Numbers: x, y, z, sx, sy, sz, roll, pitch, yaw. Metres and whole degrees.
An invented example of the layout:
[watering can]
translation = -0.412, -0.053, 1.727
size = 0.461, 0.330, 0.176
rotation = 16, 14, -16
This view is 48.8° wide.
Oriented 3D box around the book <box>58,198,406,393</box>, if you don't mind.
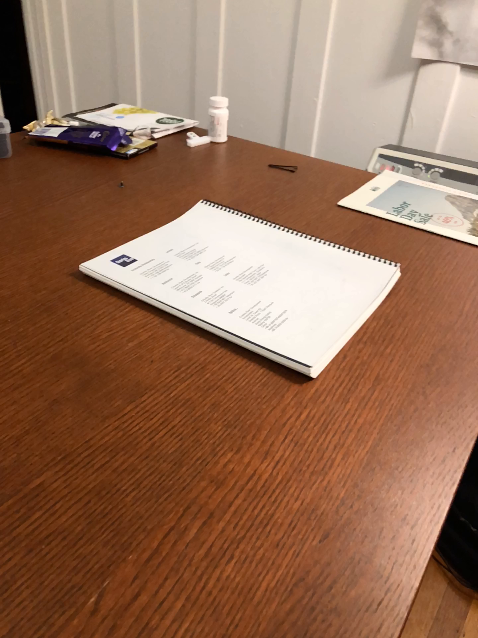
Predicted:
[book]
translation = -0.002, -0.052, 0.576
size = 0.300, 0.020, 0.231
rotation = 23, 38, 25
